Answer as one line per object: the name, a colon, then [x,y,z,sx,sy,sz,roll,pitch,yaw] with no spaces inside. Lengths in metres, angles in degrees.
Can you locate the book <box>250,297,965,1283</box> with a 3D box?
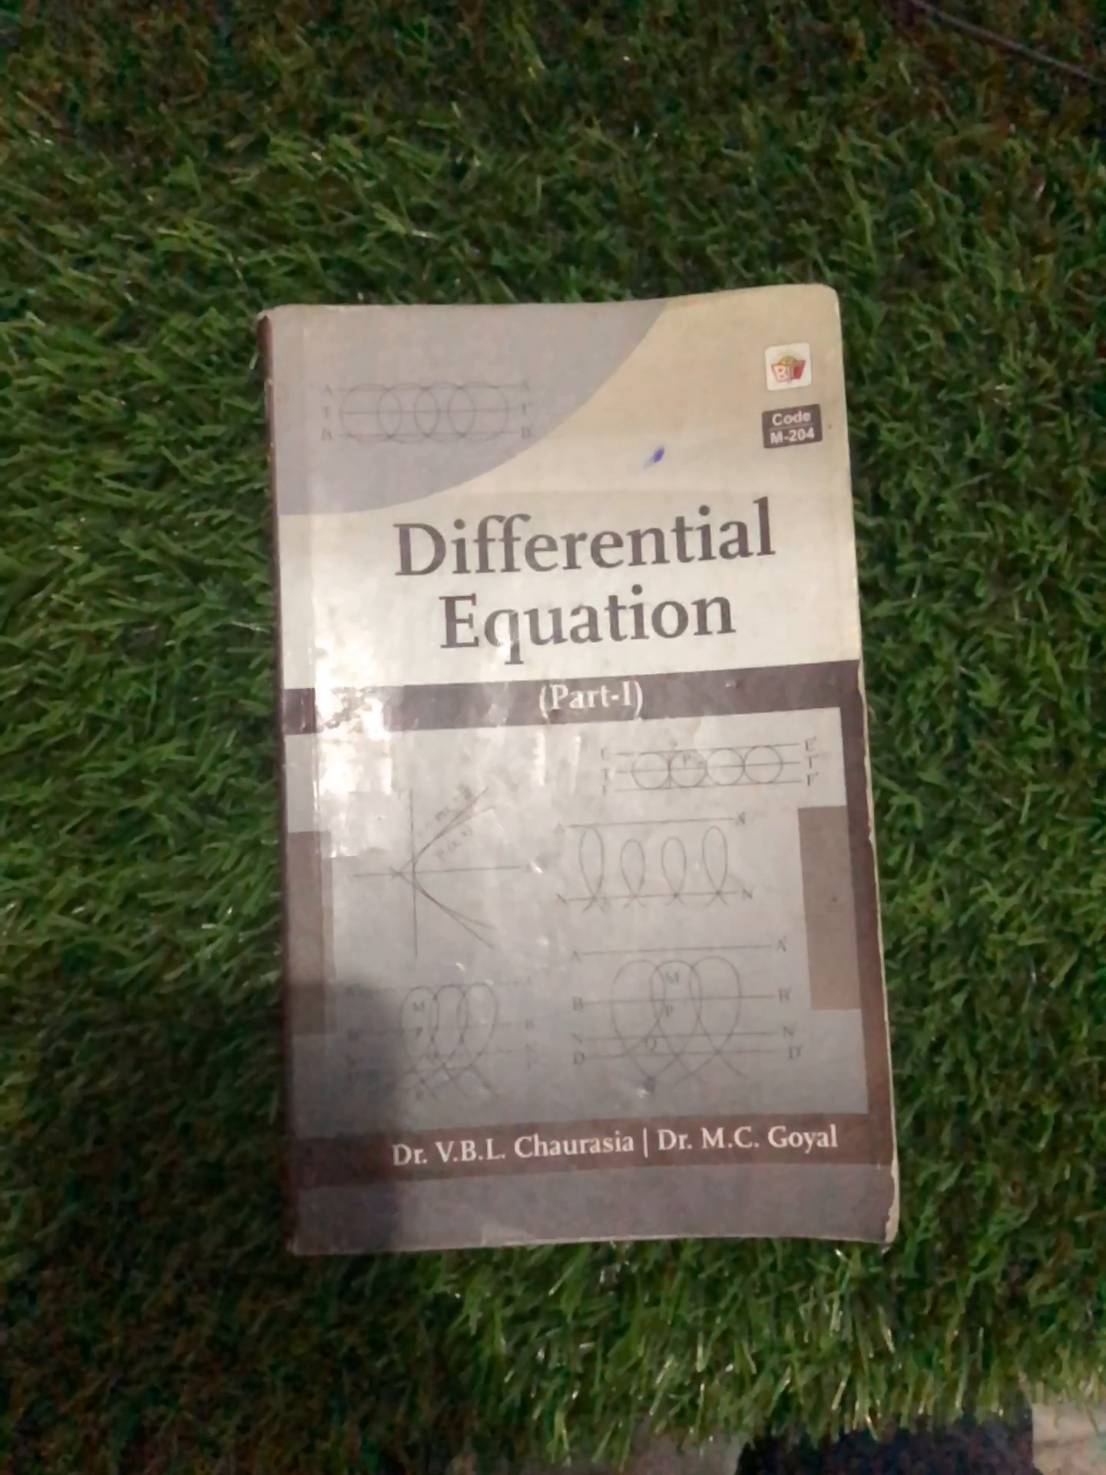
book: [0.009,0.007,0.272,0.140,0.030,0.200,-2,84,-4]
